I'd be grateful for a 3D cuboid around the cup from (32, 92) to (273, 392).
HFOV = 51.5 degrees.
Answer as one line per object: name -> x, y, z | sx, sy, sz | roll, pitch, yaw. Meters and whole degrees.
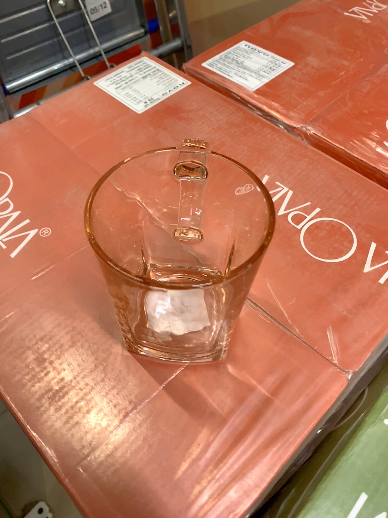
cup -> -0.009, -0.004, 0.206 | 0.080, 0.110, 0.100 | 5, 55, 3
